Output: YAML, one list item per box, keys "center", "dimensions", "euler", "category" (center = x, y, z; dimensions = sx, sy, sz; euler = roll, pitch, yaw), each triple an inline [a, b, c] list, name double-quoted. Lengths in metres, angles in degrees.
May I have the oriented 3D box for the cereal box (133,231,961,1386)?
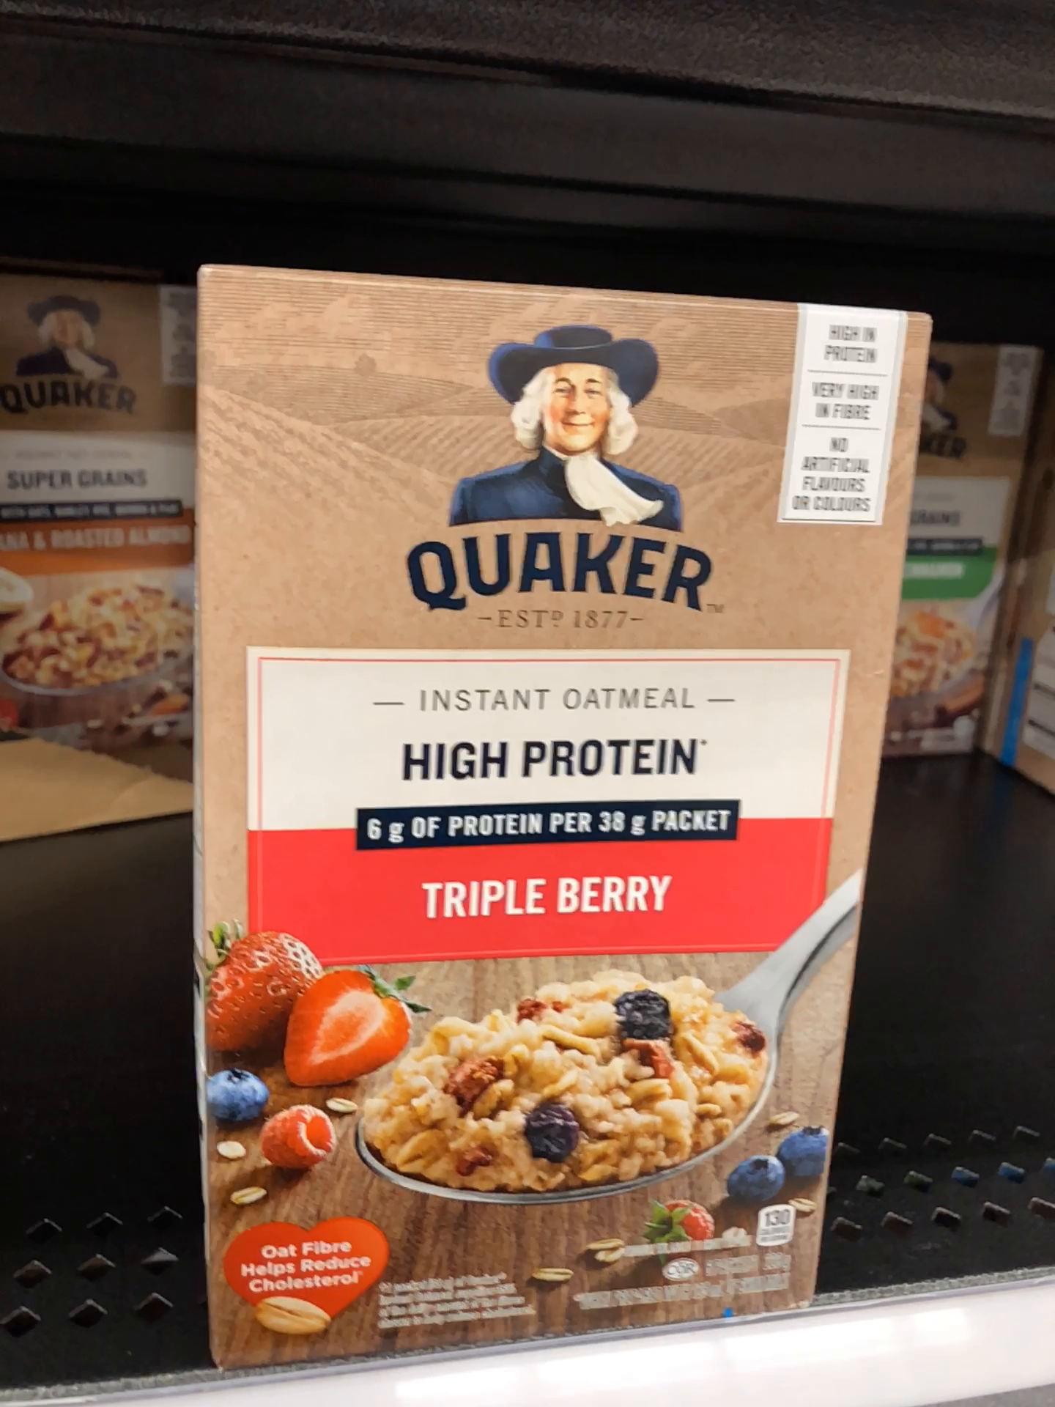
- center: [-0.003, 0.019, 0.239]
  dimensions: [0.130, 0.199, 0.070]
  euler: [0, 14, -11]
  category: "cereal box"
